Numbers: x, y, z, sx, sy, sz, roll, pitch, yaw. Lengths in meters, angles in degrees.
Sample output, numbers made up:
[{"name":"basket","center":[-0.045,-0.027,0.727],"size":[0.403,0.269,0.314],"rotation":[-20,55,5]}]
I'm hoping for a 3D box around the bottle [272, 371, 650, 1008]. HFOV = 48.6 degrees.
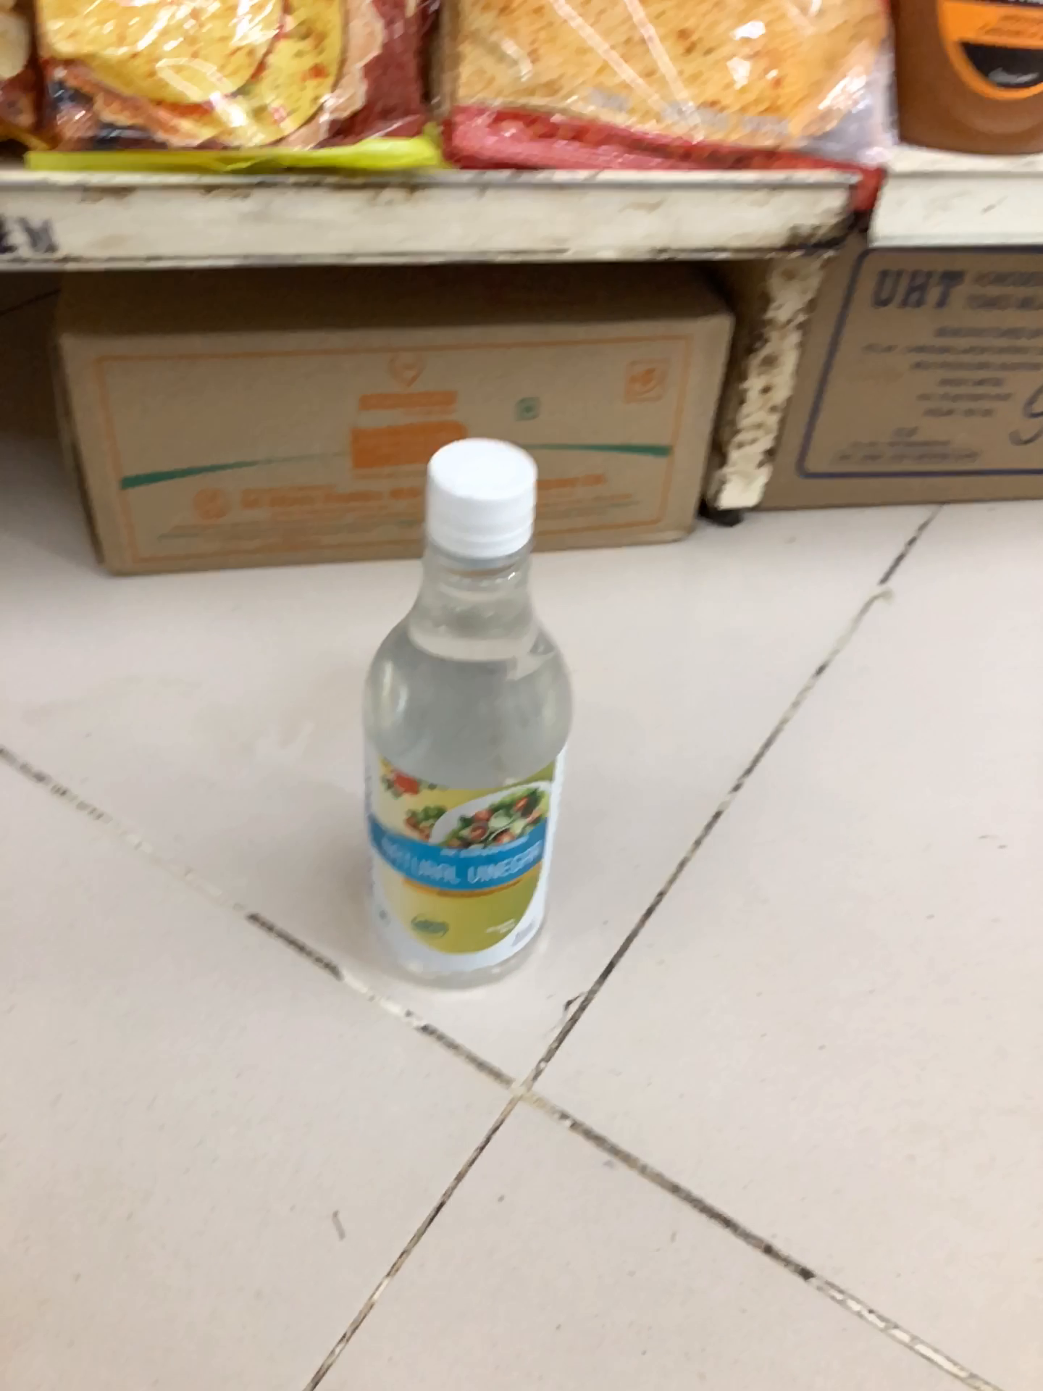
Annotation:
[{"name":"bottle","center":[-0.019,0.006,0.403],"size":[0.090,0.199,0.091],"rotation":[3,43,-2]}]
